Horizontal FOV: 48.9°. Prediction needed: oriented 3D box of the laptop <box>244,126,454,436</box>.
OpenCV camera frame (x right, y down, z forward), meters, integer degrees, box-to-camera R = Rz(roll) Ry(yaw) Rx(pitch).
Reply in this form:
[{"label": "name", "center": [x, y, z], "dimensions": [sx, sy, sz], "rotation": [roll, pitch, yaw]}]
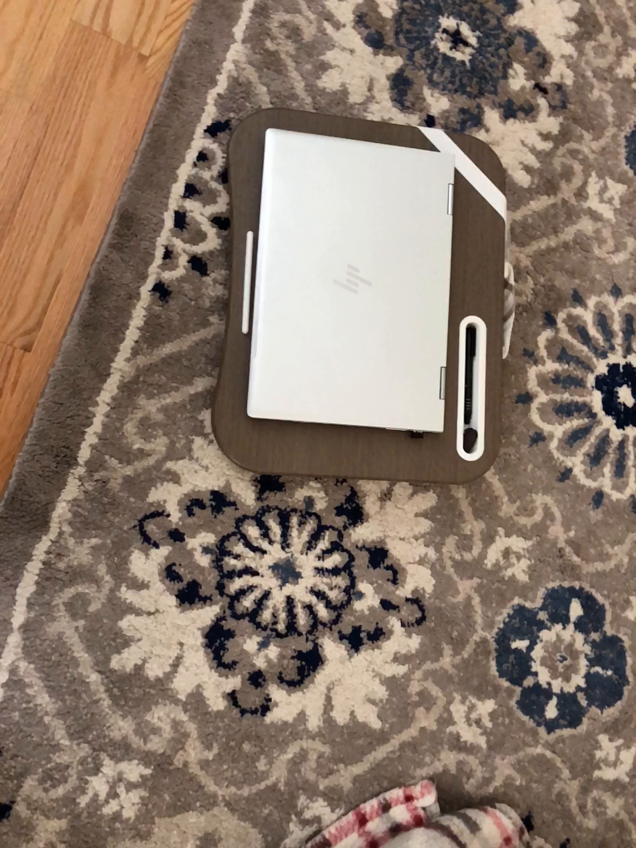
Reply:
[{"label": "laptop", "center": [0.043, -0.172, 0.858], "dimensions": [0.241, 0.026, 0.354], "rotation": [5, 82, -11]}]
